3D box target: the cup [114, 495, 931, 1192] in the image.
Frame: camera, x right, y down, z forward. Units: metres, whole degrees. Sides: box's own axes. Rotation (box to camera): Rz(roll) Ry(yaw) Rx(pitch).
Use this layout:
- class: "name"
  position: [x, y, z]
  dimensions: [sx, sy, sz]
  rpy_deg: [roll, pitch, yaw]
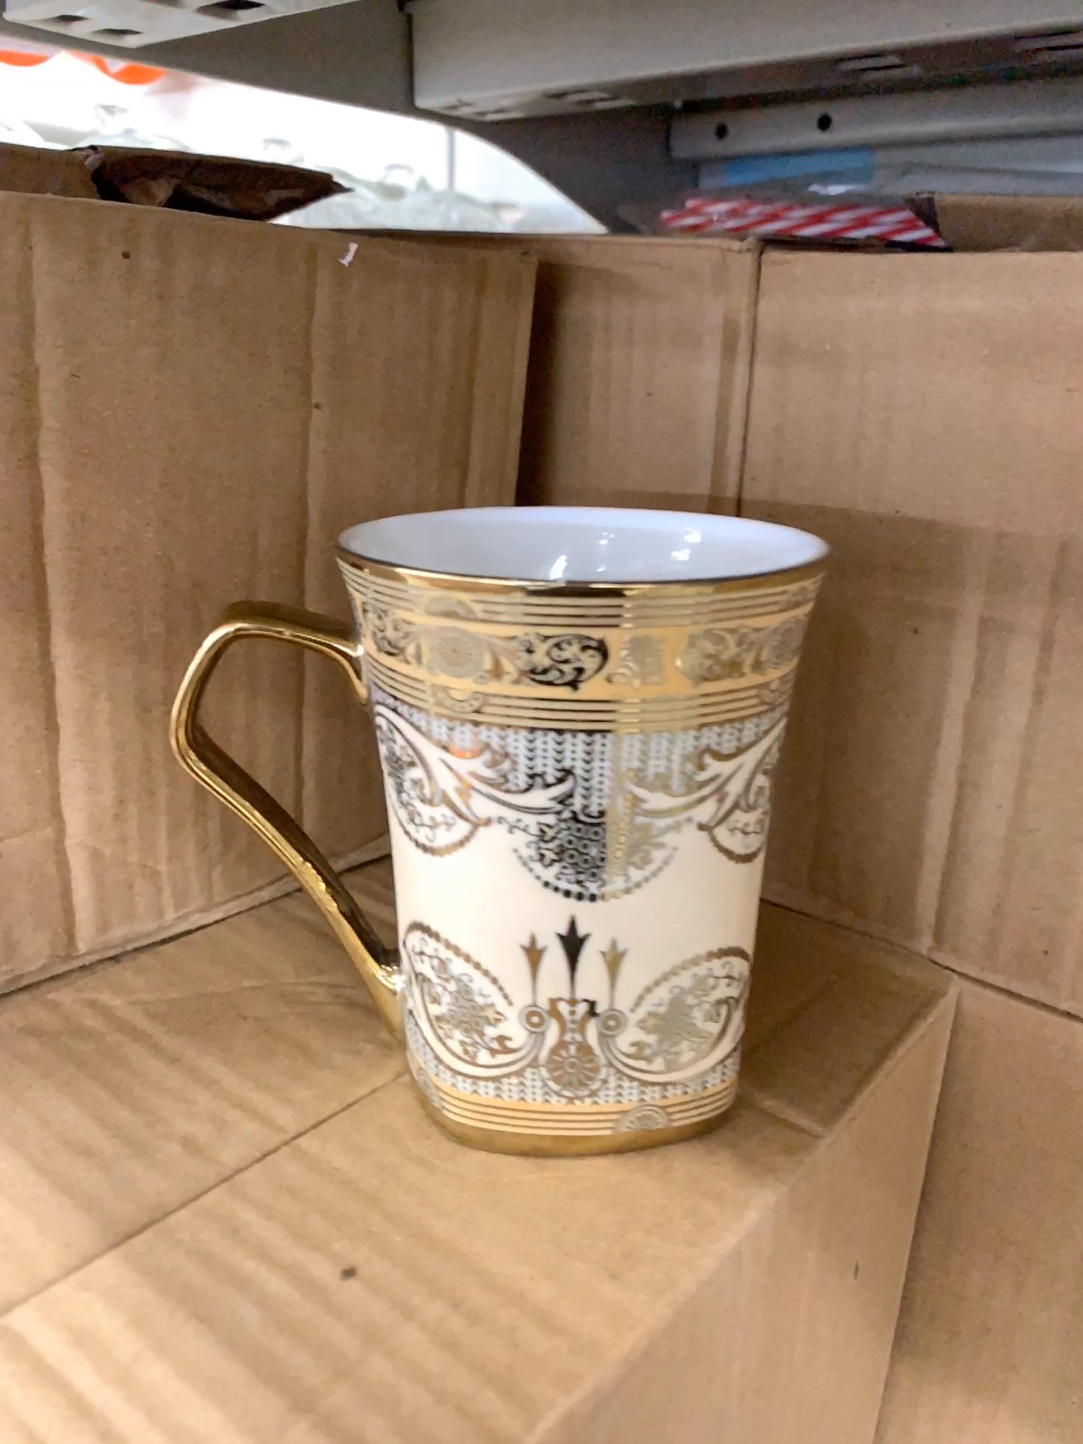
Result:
- class: "cup"
  position: [-0.005, 0.013, 0.199]
  dimensions: [0.104, 0.092, 0.084]
  rpy_deg: [0, 19, -3]
